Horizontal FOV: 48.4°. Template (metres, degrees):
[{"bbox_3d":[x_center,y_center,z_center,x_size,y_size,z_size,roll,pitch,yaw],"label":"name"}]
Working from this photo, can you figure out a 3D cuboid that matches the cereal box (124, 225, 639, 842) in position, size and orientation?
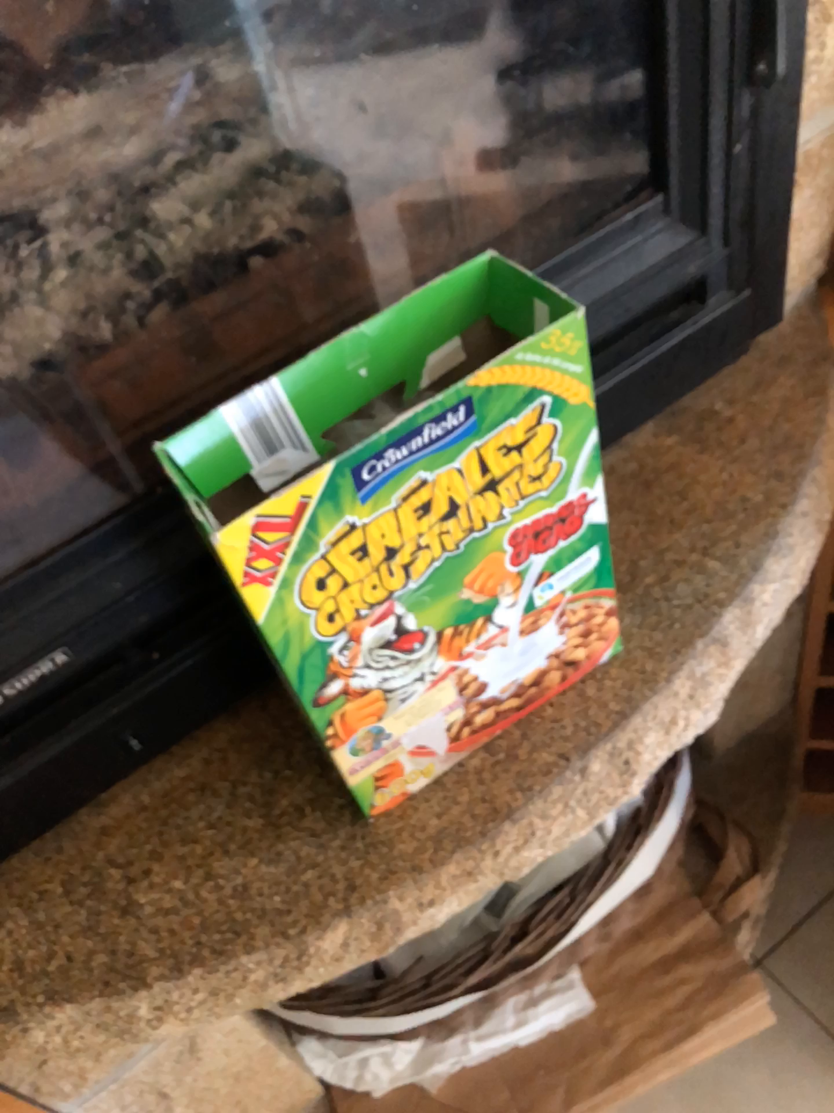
[{"bbox_3d":[0.006,0.001,0.493,0.200,0.259,0.090,-34,48,-14],"label":"cereal box"}]
